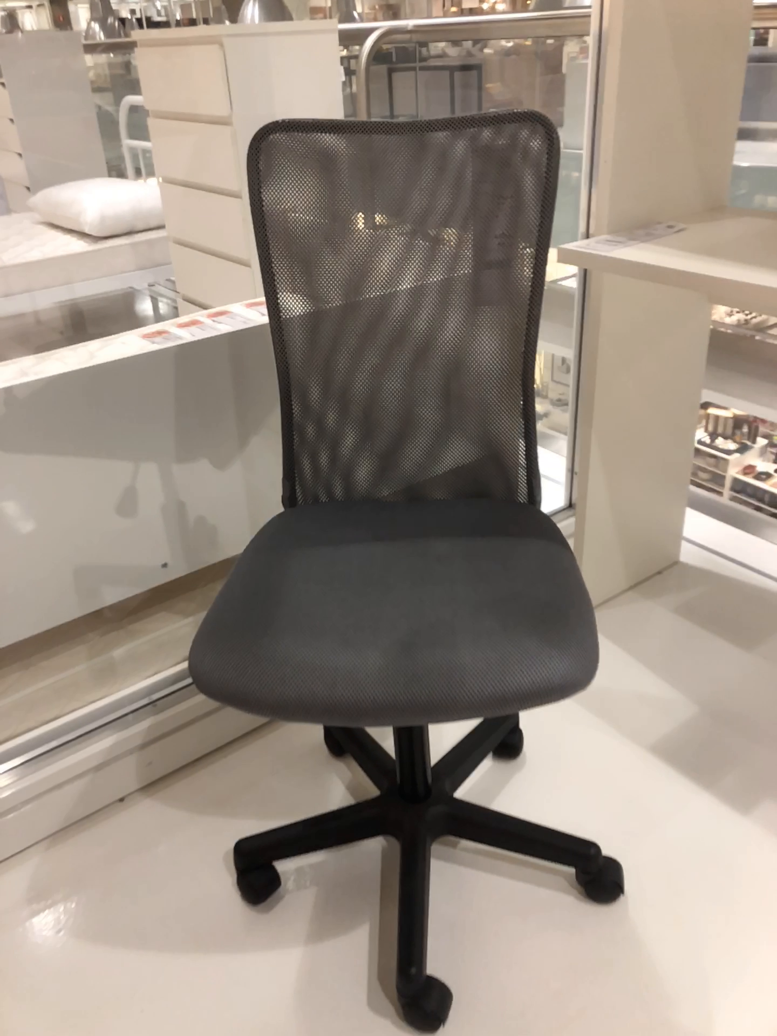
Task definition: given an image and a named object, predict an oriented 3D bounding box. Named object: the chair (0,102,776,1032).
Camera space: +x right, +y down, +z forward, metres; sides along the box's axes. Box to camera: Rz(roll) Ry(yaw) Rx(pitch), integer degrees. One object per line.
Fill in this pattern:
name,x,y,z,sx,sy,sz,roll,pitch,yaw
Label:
chair,0.027,0.043,1.036,0.580,0.933,0.605,-2,29,3
